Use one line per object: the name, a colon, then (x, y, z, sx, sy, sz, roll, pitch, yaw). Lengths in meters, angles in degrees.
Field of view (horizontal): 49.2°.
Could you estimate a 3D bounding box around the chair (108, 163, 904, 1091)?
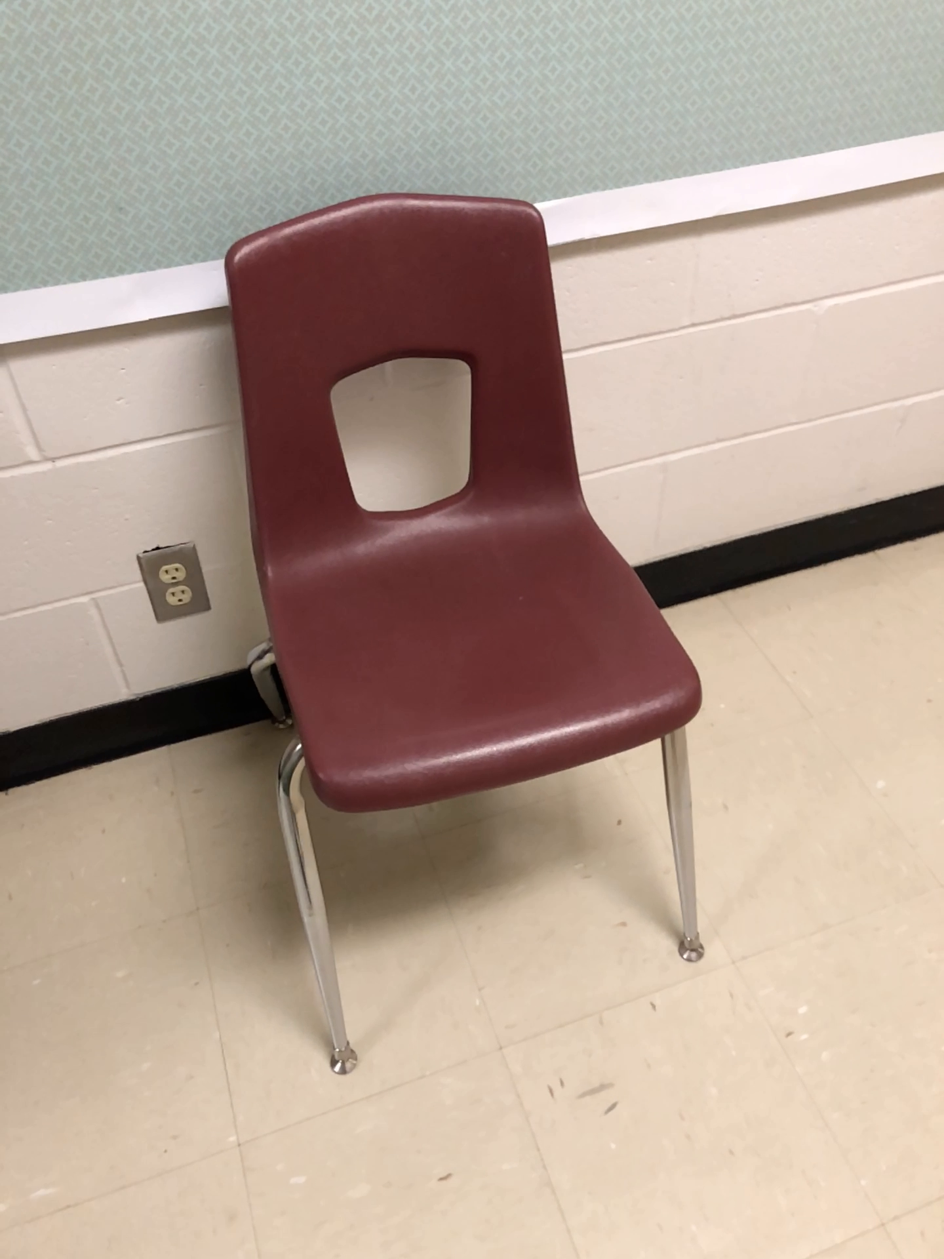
chair: (-0.019, 0.001, 1.099, 0.504, 0.707, 0.556, -13, 46, -12)
